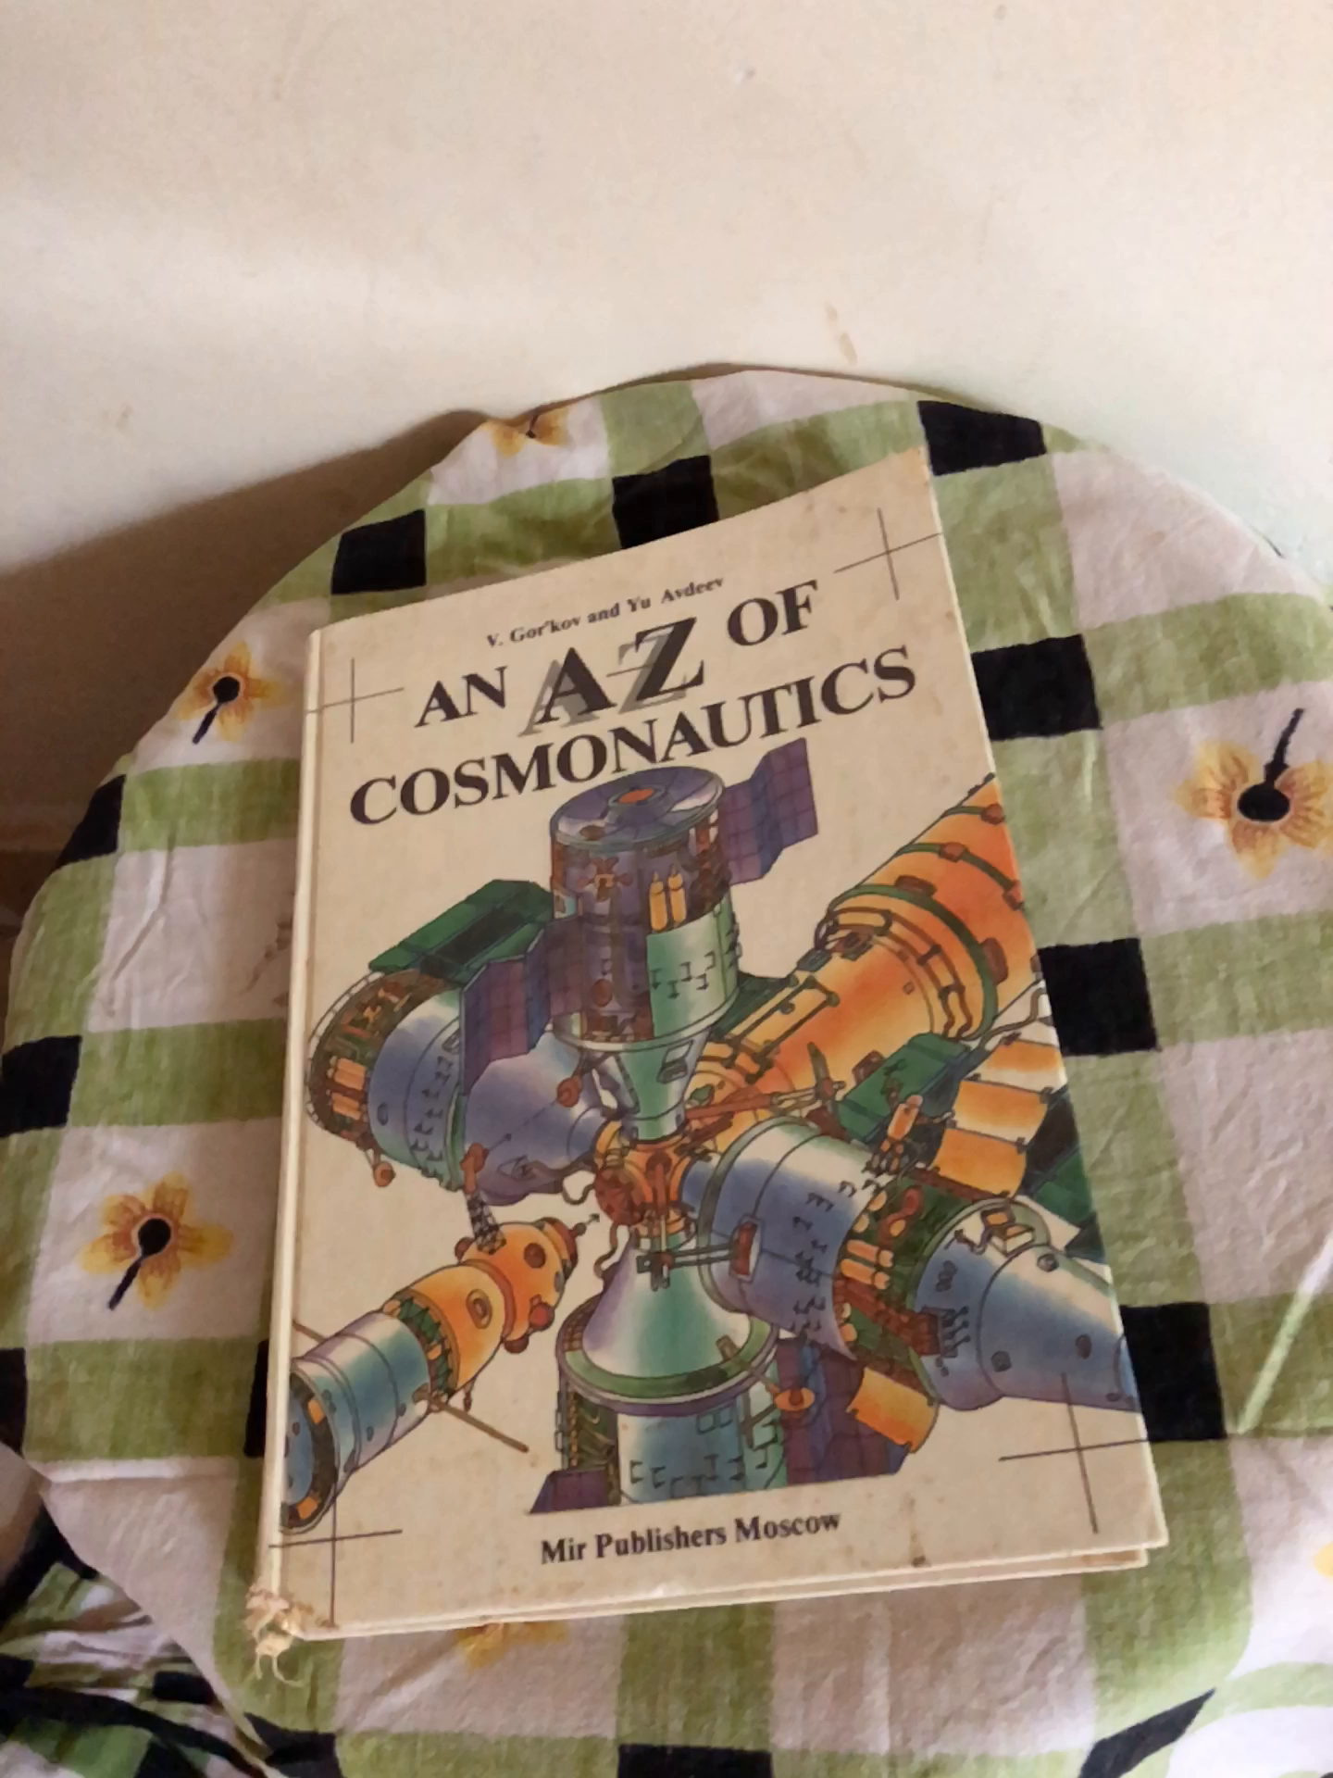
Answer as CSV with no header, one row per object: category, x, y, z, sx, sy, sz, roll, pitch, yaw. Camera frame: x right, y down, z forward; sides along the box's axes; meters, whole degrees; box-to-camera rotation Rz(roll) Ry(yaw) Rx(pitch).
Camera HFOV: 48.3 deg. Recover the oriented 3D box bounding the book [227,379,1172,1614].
book,-0.004,0.018,0.363,0.180,0.060,0.270,-11,62,10
